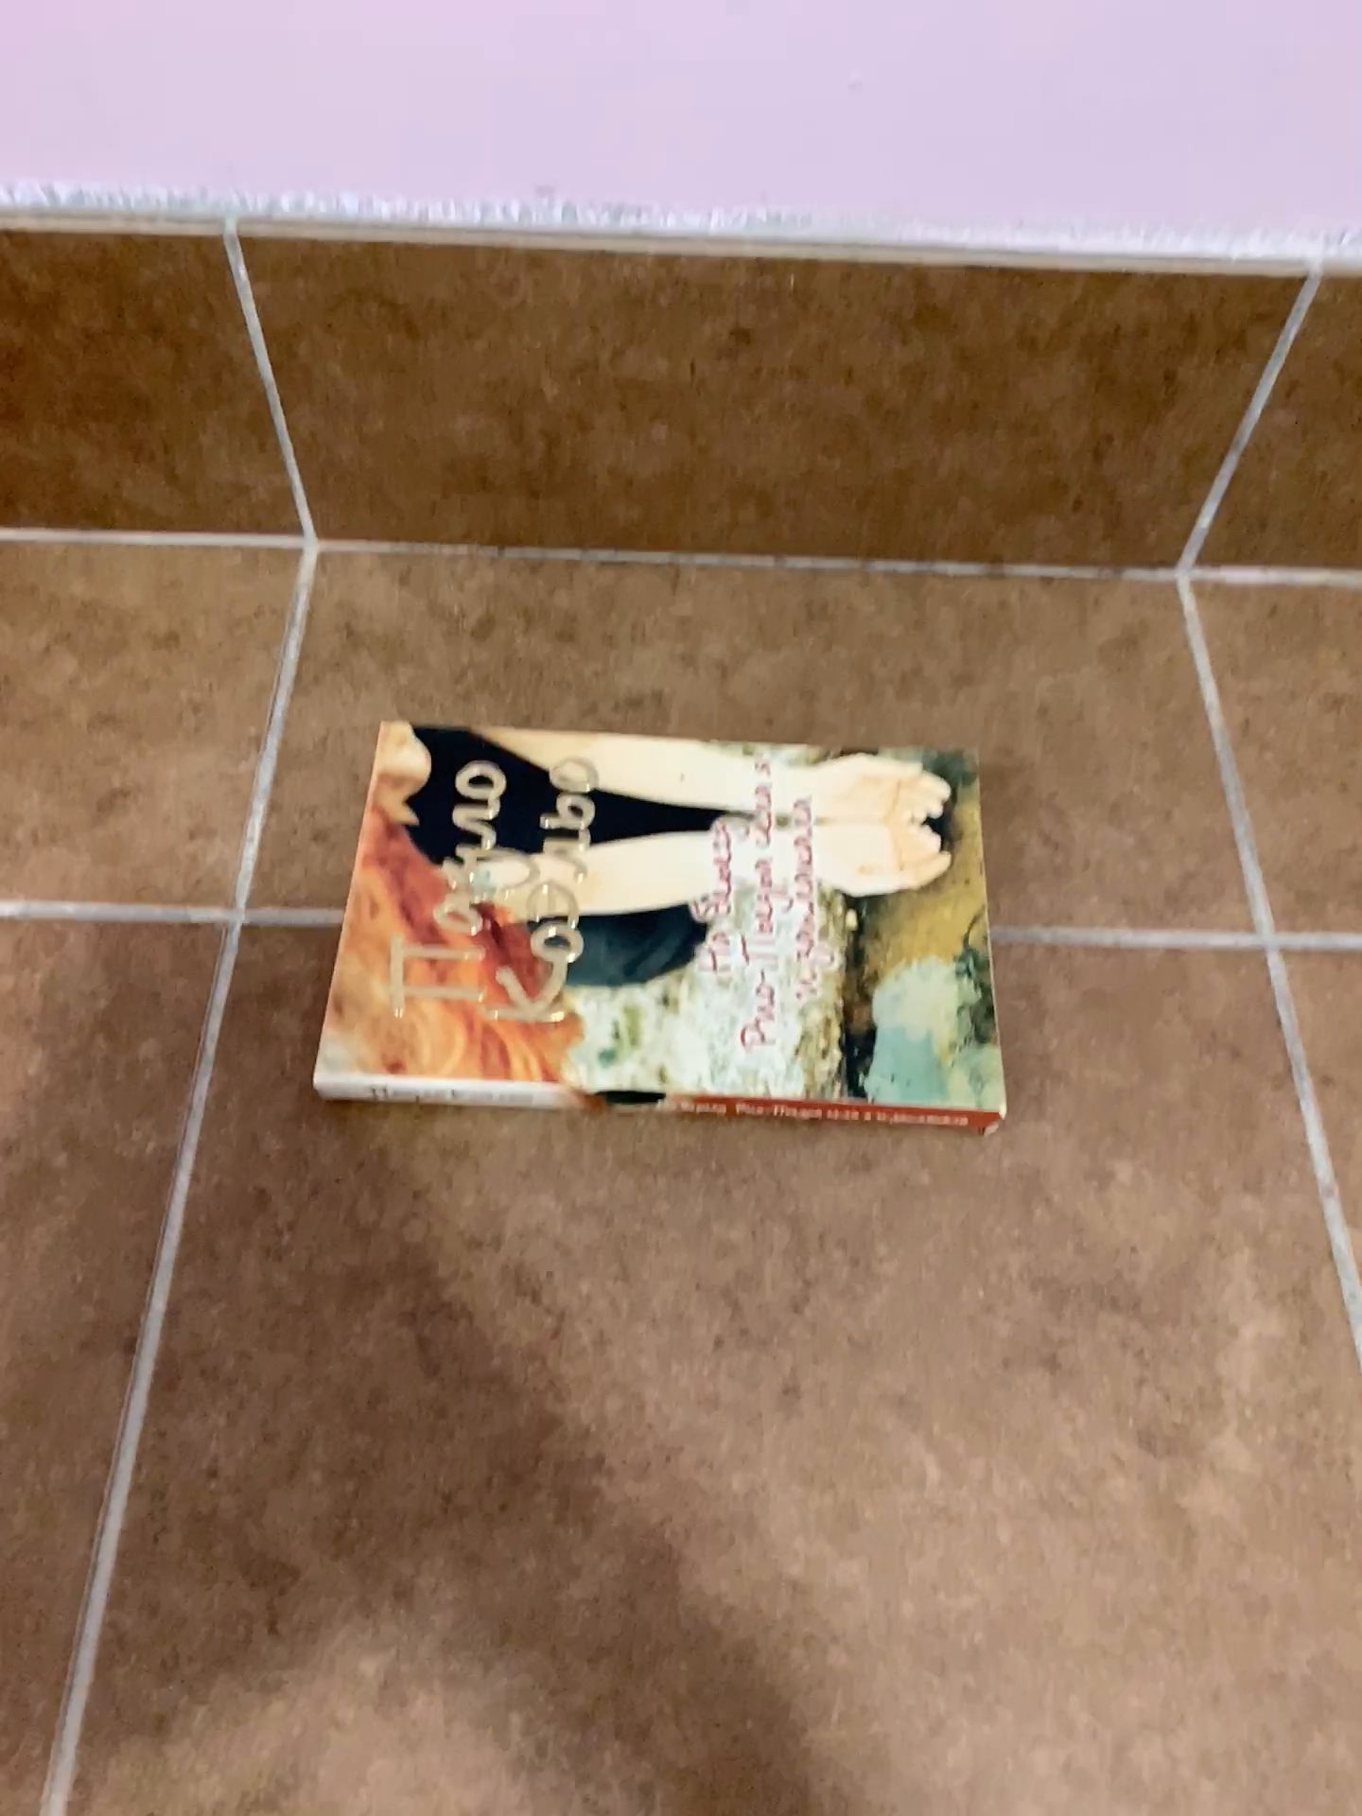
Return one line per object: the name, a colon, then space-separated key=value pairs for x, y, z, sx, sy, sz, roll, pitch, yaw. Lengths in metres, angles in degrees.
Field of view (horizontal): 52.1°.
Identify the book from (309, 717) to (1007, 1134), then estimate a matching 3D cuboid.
book: x=-0.004 y=0.001 z=0.399 sx=0.181 sy=0.016 sz=0.120 roll=3 pitch=59 yaw=0
